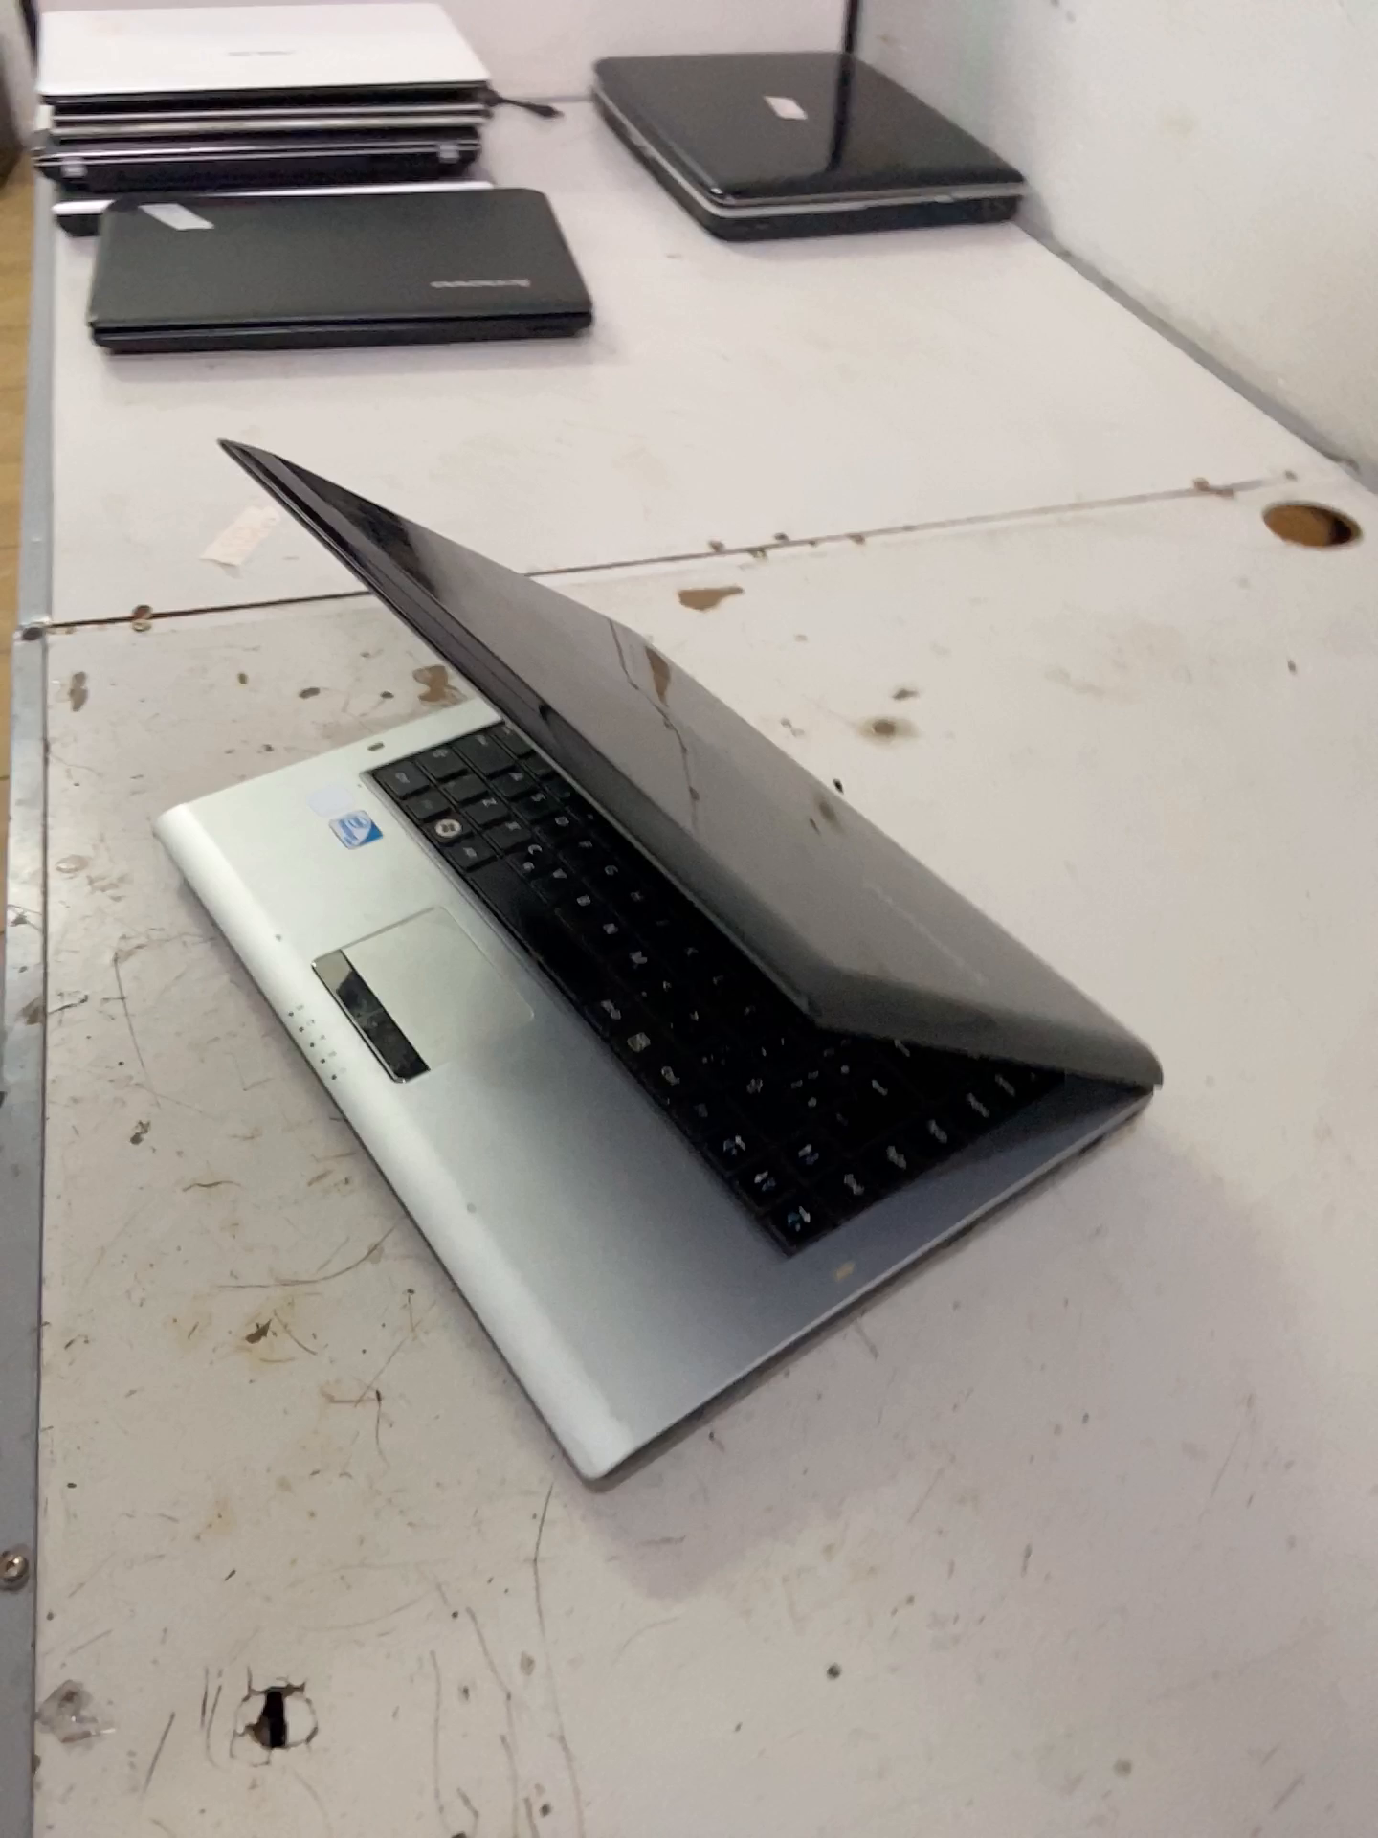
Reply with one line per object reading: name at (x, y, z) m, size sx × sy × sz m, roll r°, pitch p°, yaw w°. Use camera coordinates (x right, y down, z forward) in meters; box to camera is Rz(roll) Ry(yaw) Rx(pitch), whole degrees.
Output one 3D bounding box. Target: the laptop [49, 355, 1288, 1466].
laptop at (-0.028, -0.041, 0.497) m, size 0.241 × 0.152 × 0.334 m, roll -25°, pitch 50°, yaw -26°
